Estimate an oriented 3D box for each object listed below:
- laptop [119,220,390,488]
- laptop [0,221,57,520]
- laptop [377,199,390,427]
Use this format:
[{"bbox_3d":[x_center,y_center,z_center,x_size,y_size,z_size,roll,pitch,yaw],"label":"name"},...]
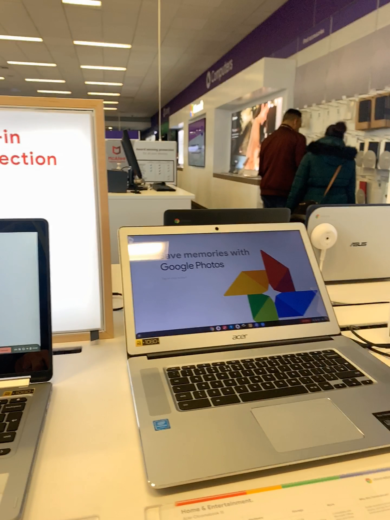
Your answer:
[{"bbox_3d":[0.090,0.067,0.607,0.376,0.175,0.427,-3,15,-14],"label":"laptop"},{"bbox_3d":[-0.330,0.089,0.418,0.307,0.216,0.279,-2,14,-13],"label":"laptop"},{"bbox_3d":[0.535,0.044,0.606,0.358,0.234,0.268,-1,14,-13],"label":"laptop"}]
